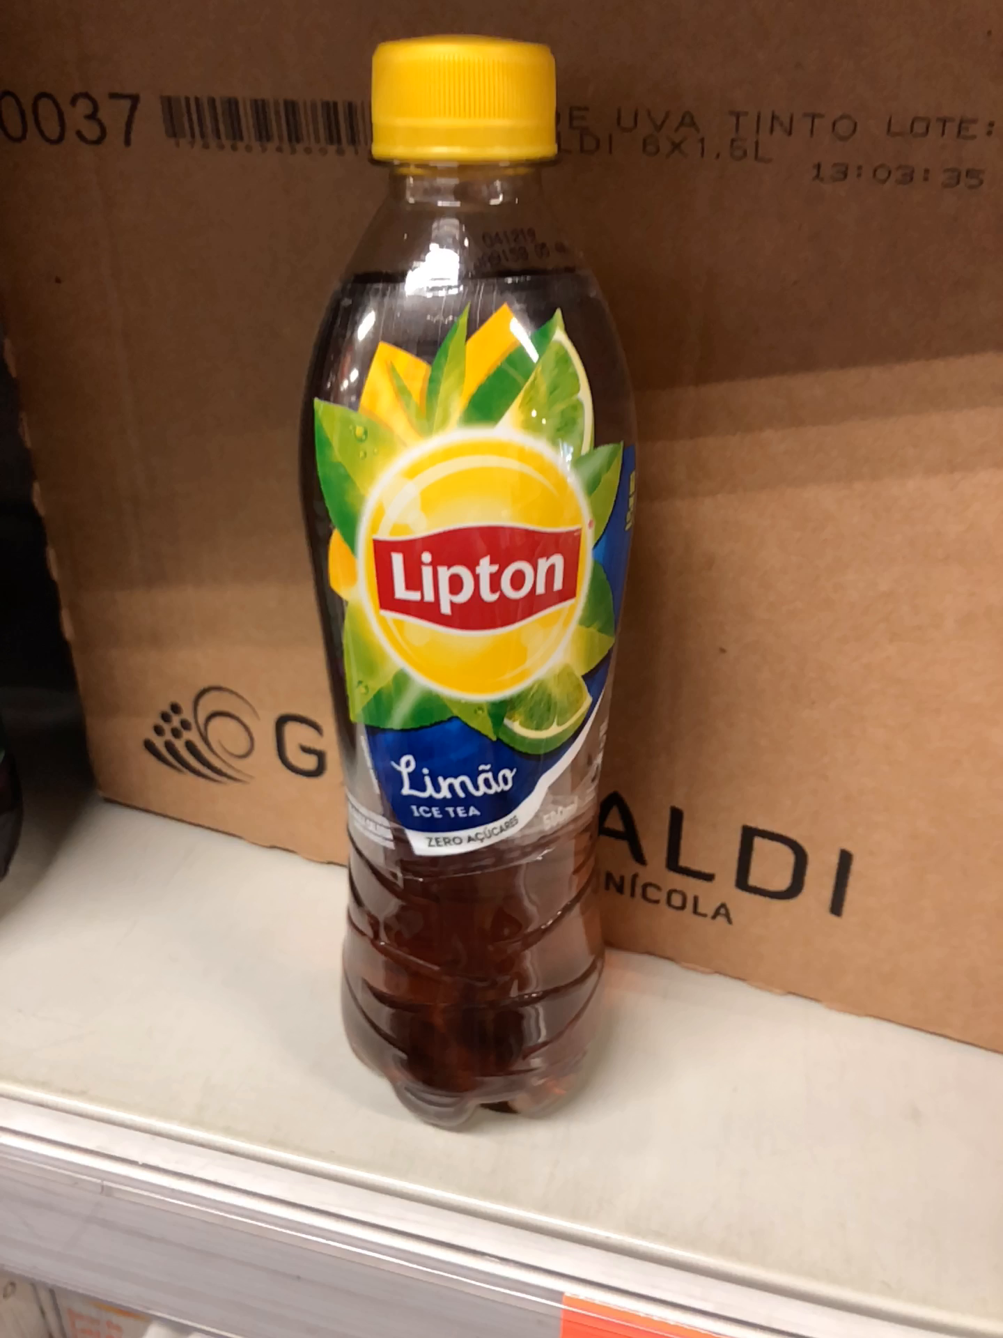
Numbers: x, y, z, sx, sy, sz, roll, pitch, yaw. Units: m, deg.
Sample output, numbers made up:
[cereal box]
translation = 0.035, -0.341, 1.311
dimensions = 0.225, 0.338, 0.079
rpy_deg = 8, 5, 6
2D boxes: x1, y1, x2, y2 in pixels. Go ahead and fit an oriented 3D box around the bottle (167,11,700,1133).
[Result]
[bottle]
translation = -0.008, -0.006, 0.229
dimensions = 0.070, 0.218, 0.060
rpy_deg = -2, 30, -2
